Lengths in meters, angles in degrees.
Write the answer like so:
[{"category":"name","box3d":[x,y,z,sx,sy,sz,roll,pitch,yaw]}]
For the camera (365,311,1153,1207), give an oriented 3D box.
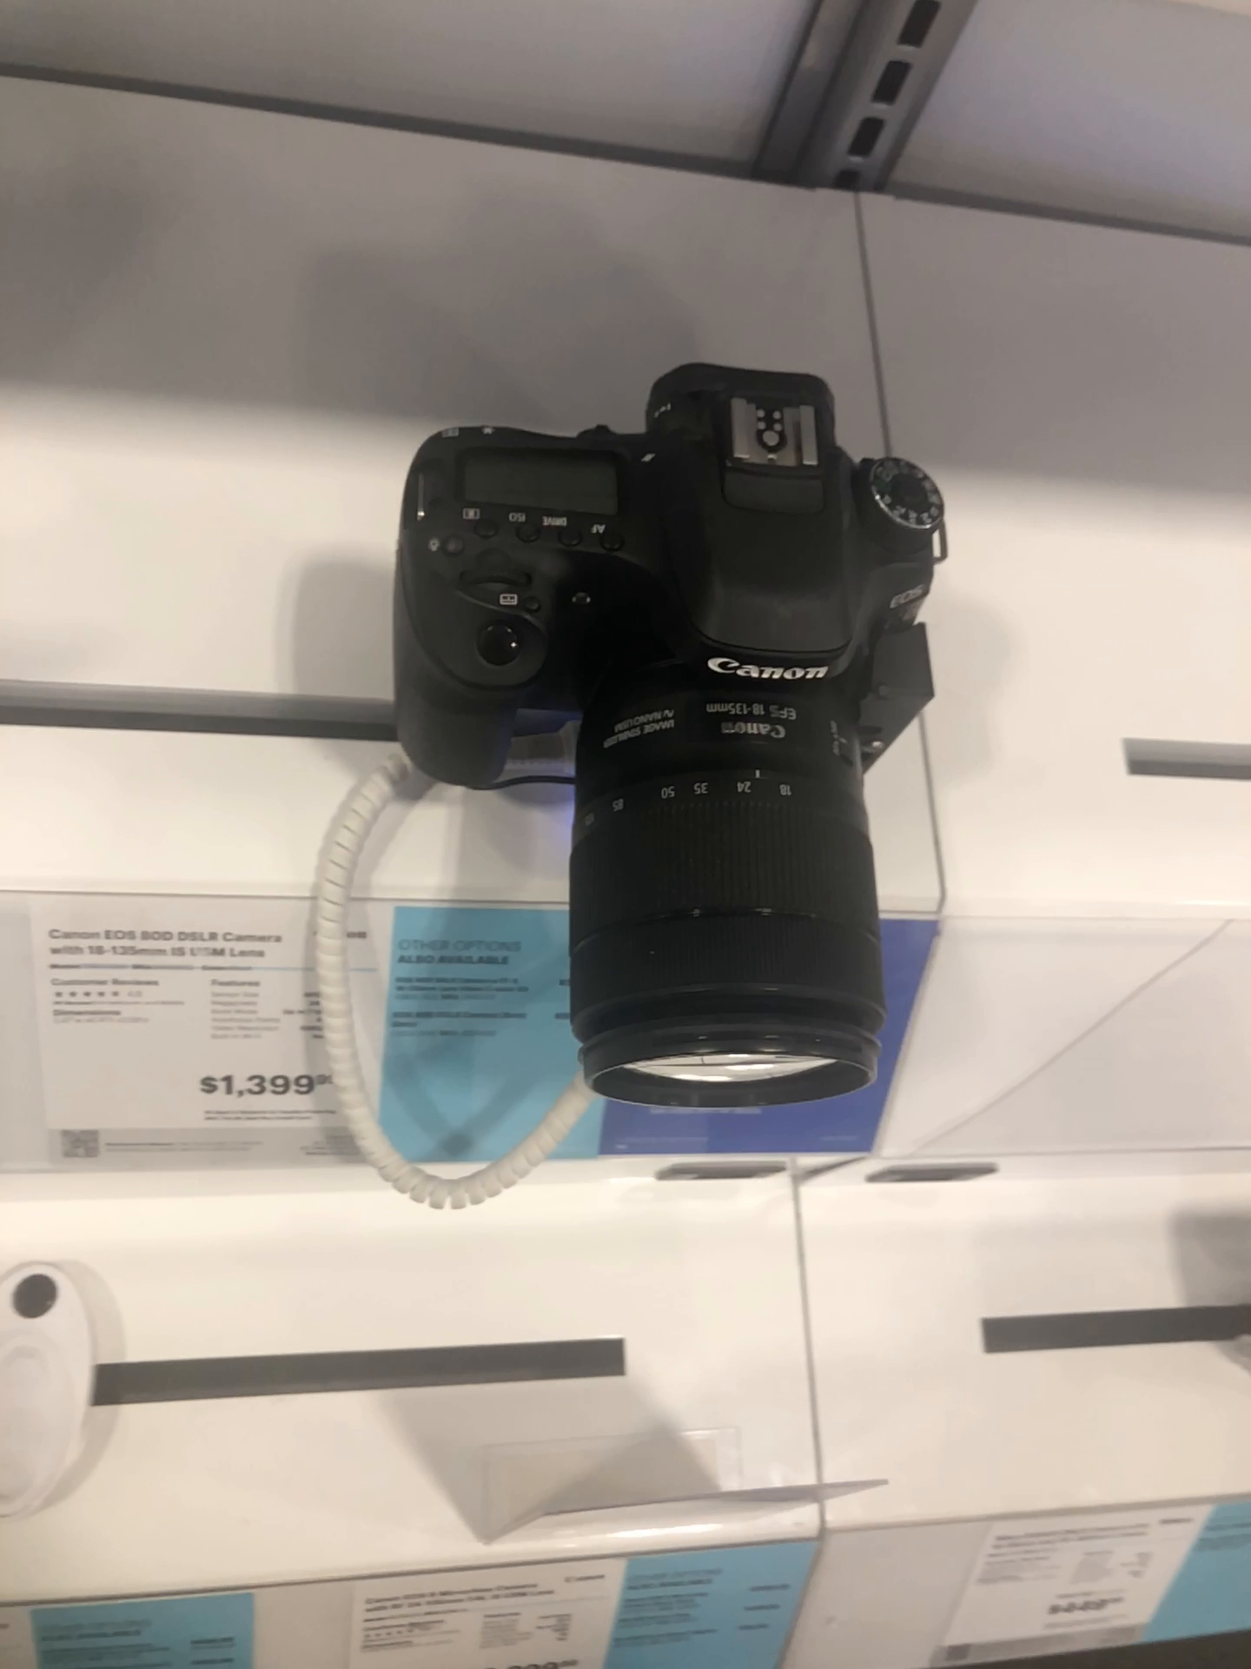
[{"category":"camera","box3d":[0.015,-0.010,0.341,0.150,0.110,0.180,1,69,-12]}]
